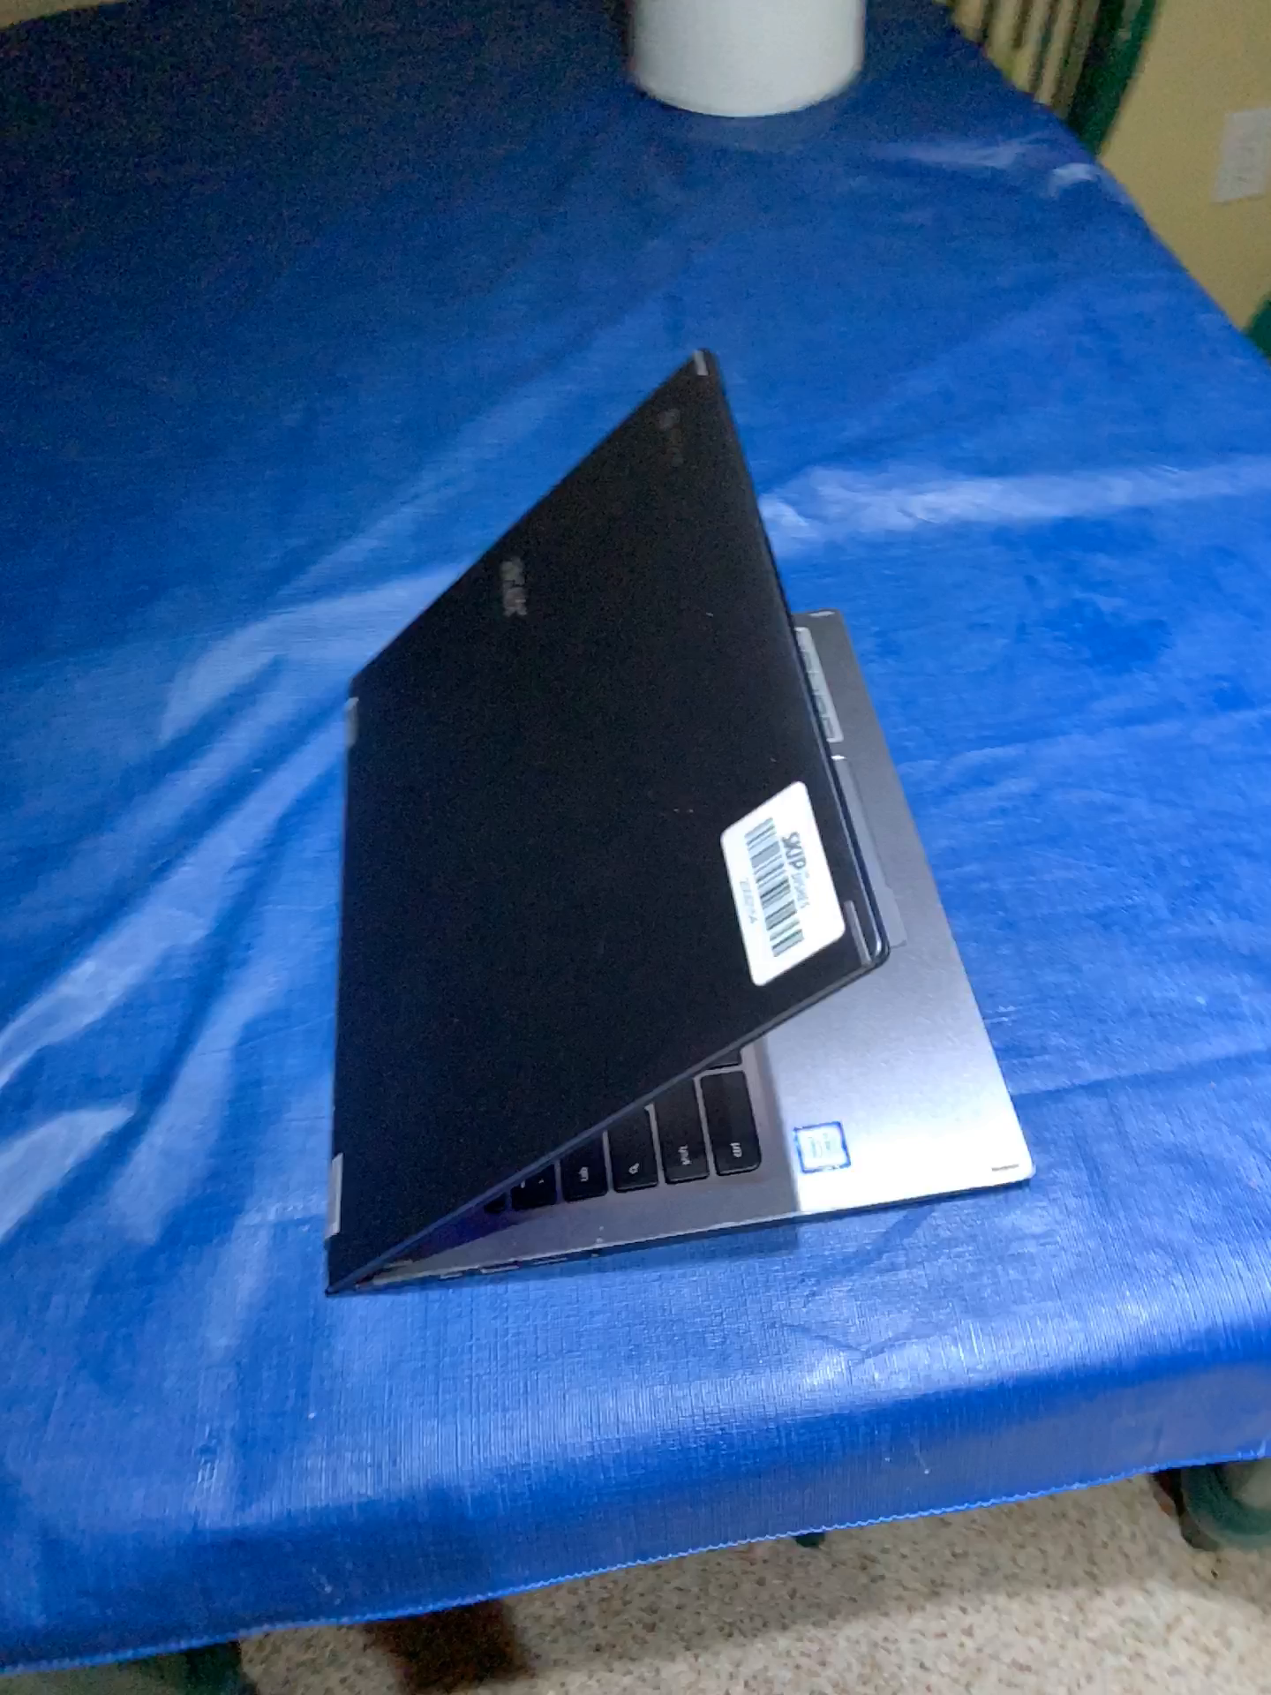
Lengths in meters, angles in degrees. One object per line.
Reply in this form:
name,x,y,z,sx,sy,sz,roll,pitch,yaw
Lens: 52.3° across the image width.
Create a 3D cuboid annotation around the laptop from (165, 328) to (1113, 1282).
laptop,-0.010,-0.031,0.492,0.249,0.151,0.305,-9,50,0
